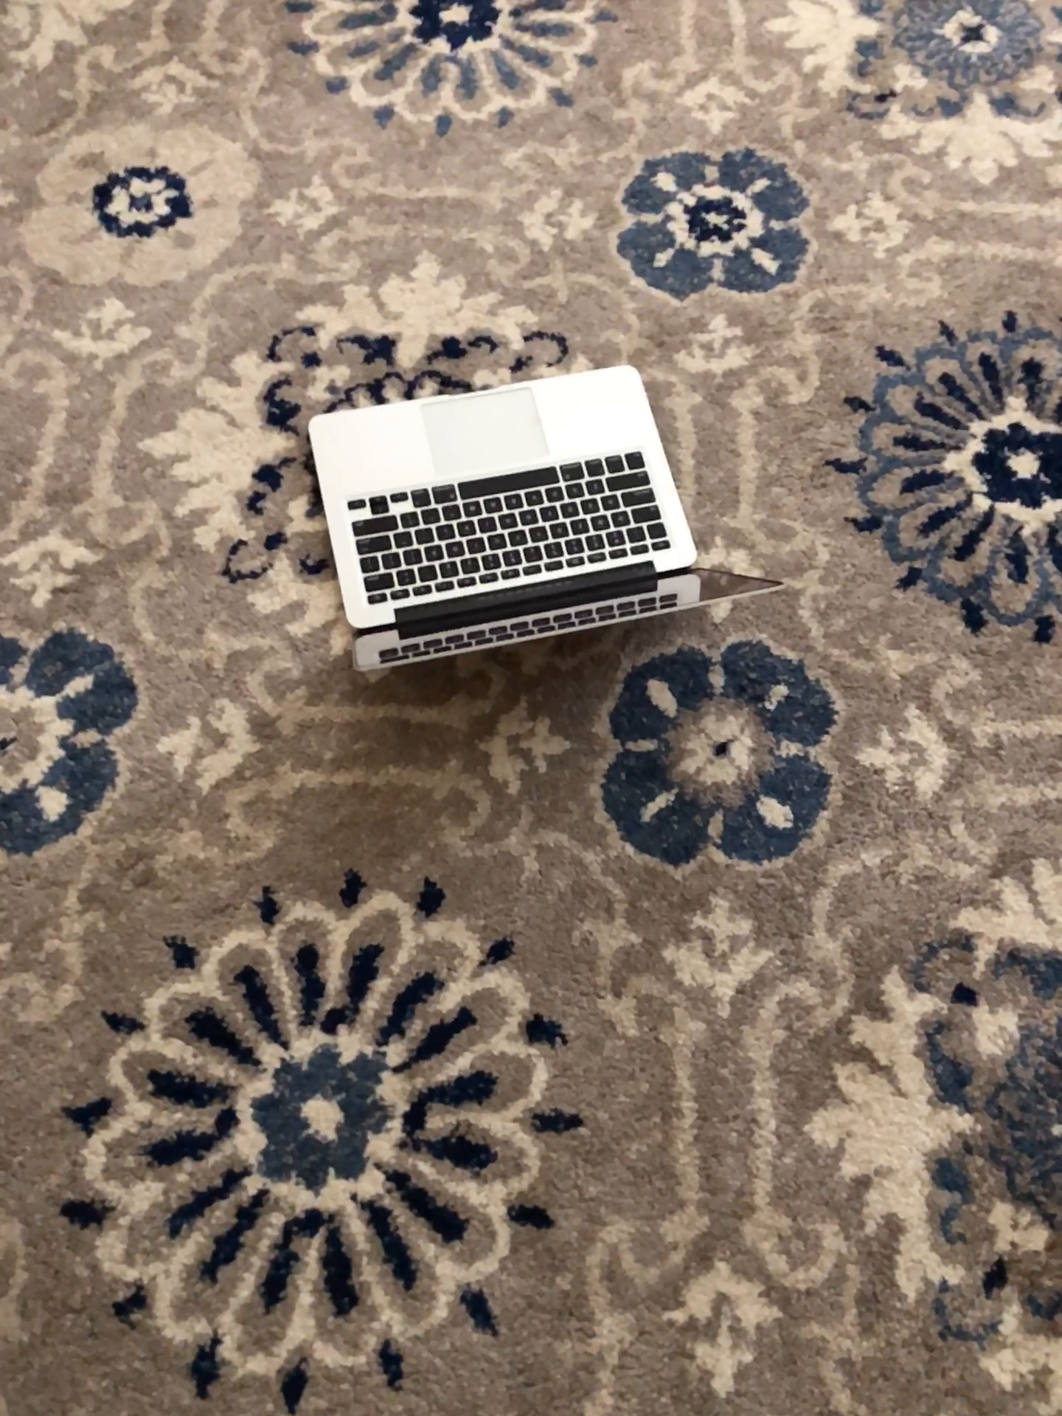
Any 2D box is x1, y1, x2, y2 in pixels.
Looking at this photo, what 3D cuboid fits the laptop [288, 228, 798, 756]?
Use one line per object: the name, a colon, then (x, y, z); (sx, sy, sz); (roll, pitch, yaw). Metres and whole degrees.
laptop: (-0.003, -0.170, 0.931); (0.300, 0.171, 0.322); (-12, 71, -7)
